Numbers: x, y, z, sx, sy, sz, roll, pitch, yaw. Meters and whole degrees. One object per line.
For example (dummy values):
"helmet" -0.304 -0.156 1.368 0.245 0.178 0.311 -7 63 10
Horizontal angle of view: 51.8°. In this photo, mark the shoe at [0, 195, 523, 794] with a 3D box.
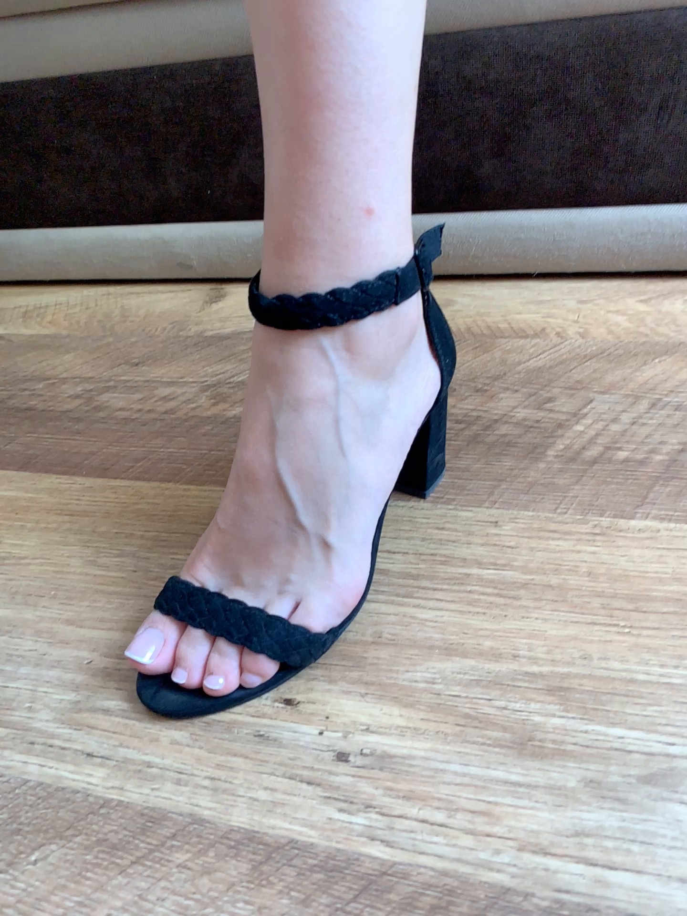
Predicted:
"shoe" -0.018 -0.002 0.323 0.090 0.149 0.230 23 48 35
